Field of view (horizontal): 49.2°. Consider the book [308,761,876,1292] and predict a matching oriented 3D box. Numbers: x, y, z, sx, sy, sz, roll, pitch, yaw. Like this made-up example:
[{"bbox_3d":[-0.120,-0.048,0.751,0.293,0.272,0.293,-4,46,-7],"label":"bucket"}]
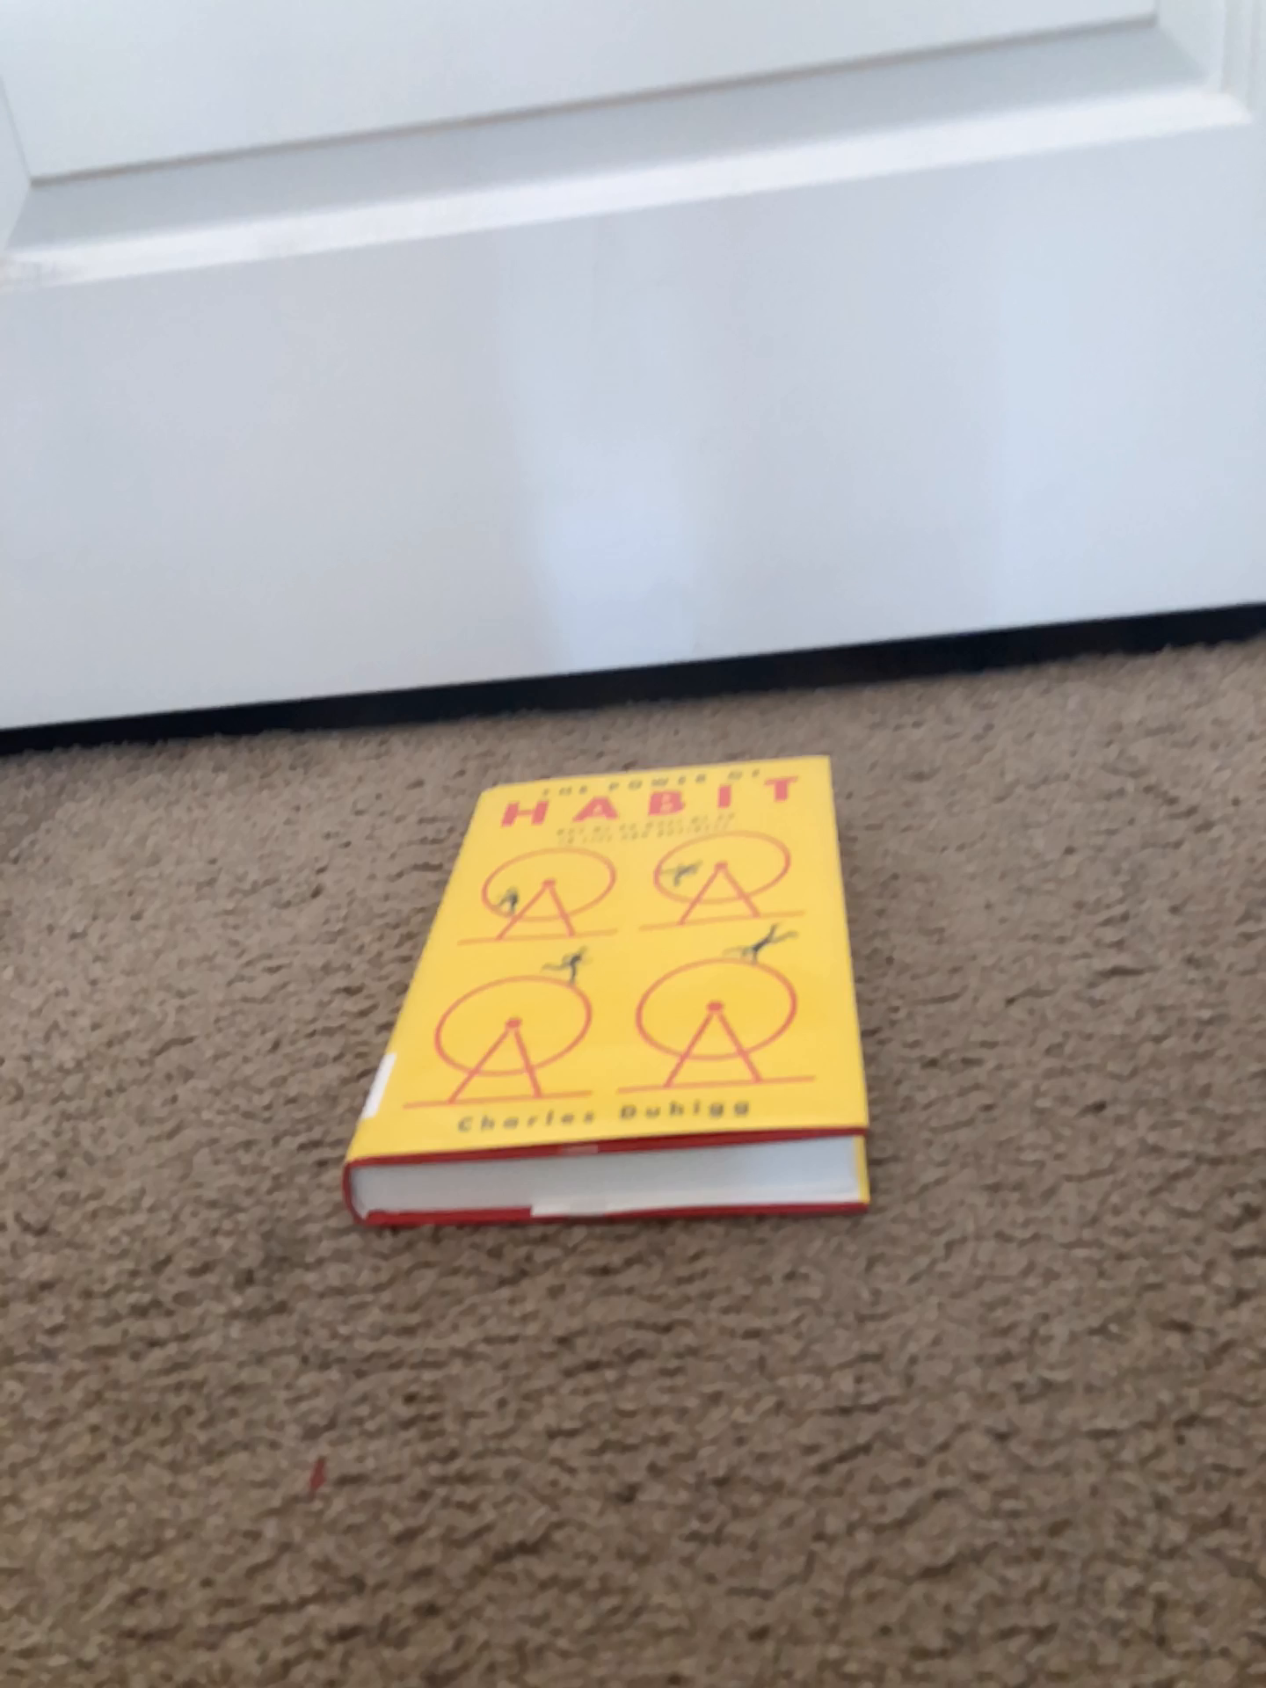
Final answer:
[{"bbox_3d":[-0.002,0.052,0.517,0.164,0.040,0.252,-6,29,9],"label":"book"}]
